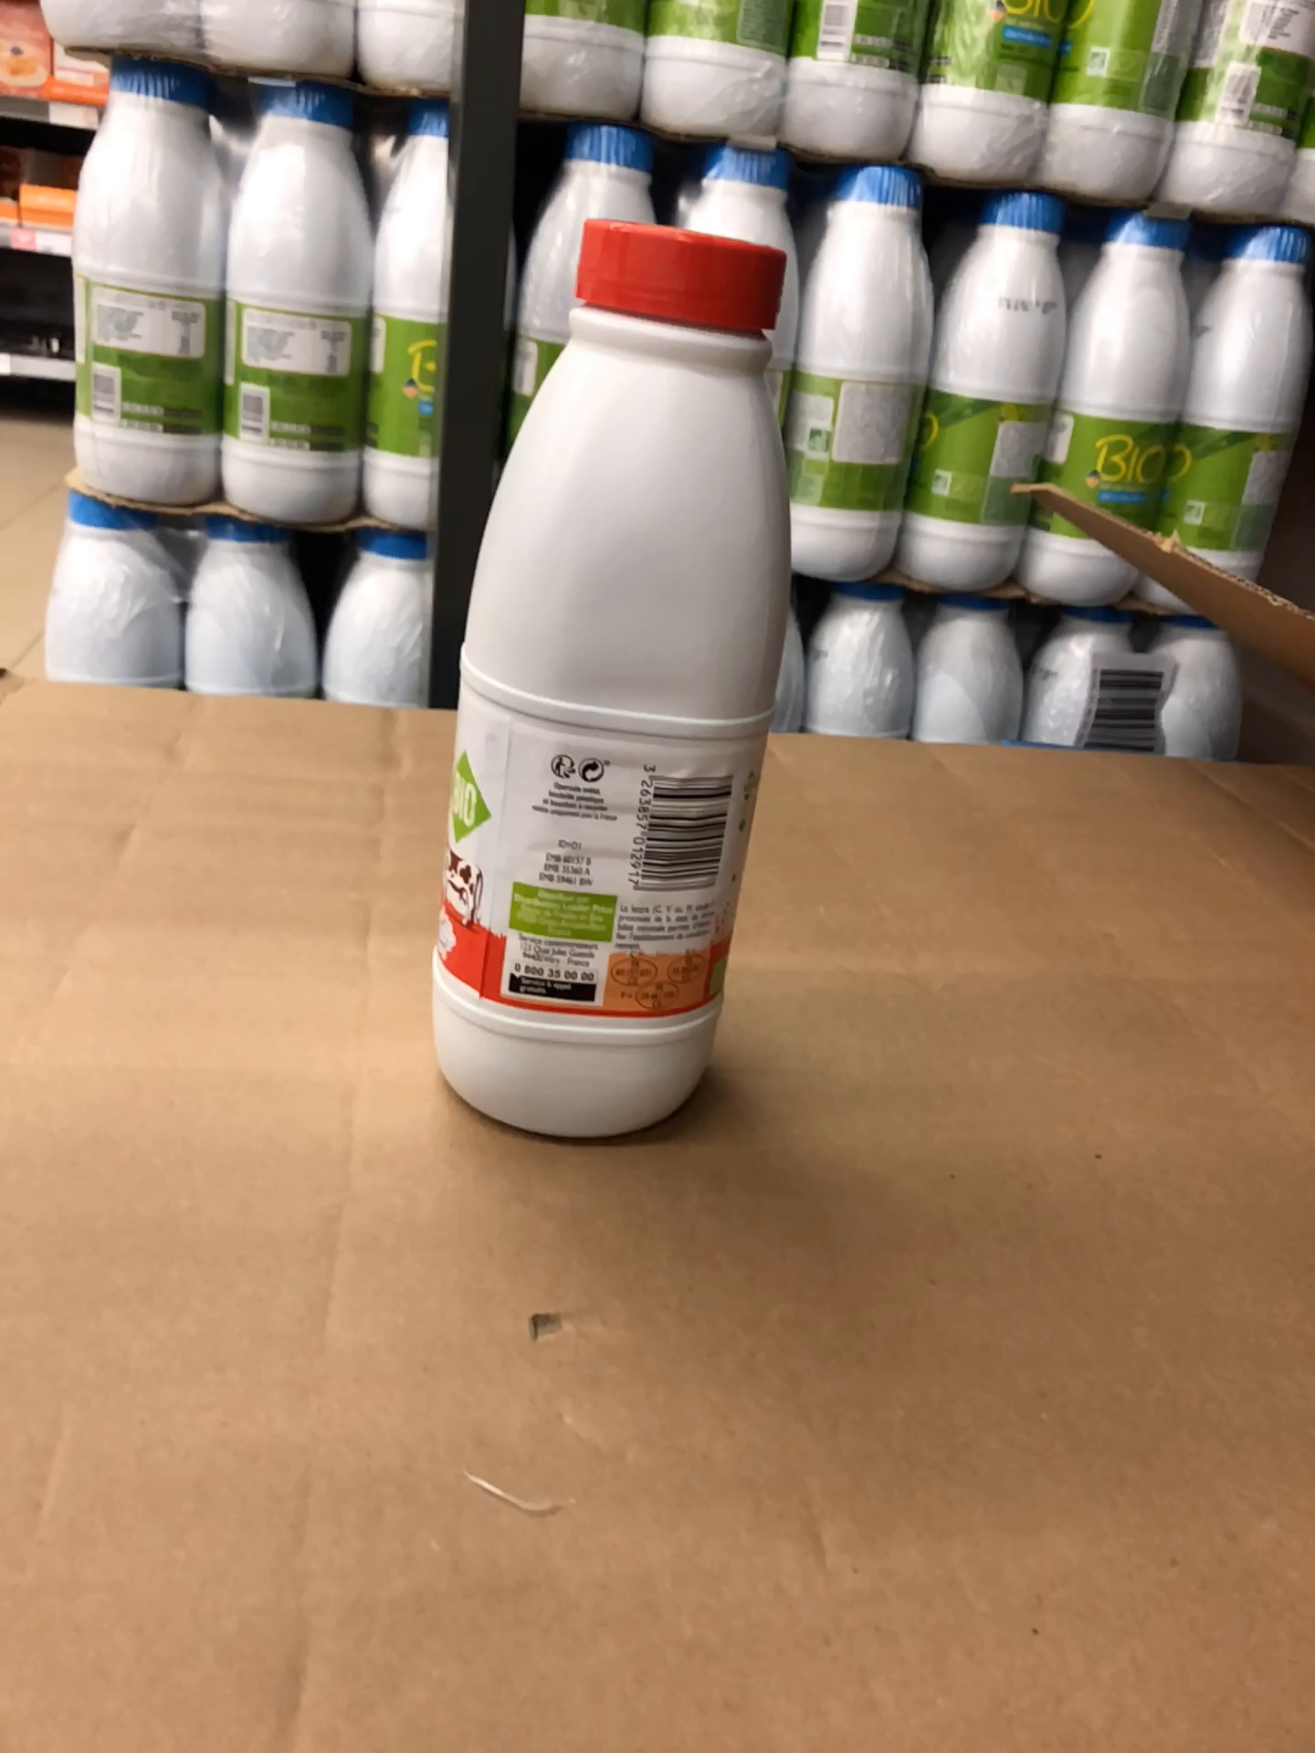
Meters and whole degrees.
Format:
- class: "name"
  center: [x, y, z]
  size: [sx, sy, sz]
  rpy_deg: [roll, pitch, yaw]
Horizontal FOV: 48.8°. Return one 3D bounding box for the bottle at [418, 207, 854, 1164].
- class: "bottle"
  center: [-0.017, -0.047, 0.384]
  size: [0.080, 0.229, 0.090]
  rpy_deg: [3, 23, -10]
